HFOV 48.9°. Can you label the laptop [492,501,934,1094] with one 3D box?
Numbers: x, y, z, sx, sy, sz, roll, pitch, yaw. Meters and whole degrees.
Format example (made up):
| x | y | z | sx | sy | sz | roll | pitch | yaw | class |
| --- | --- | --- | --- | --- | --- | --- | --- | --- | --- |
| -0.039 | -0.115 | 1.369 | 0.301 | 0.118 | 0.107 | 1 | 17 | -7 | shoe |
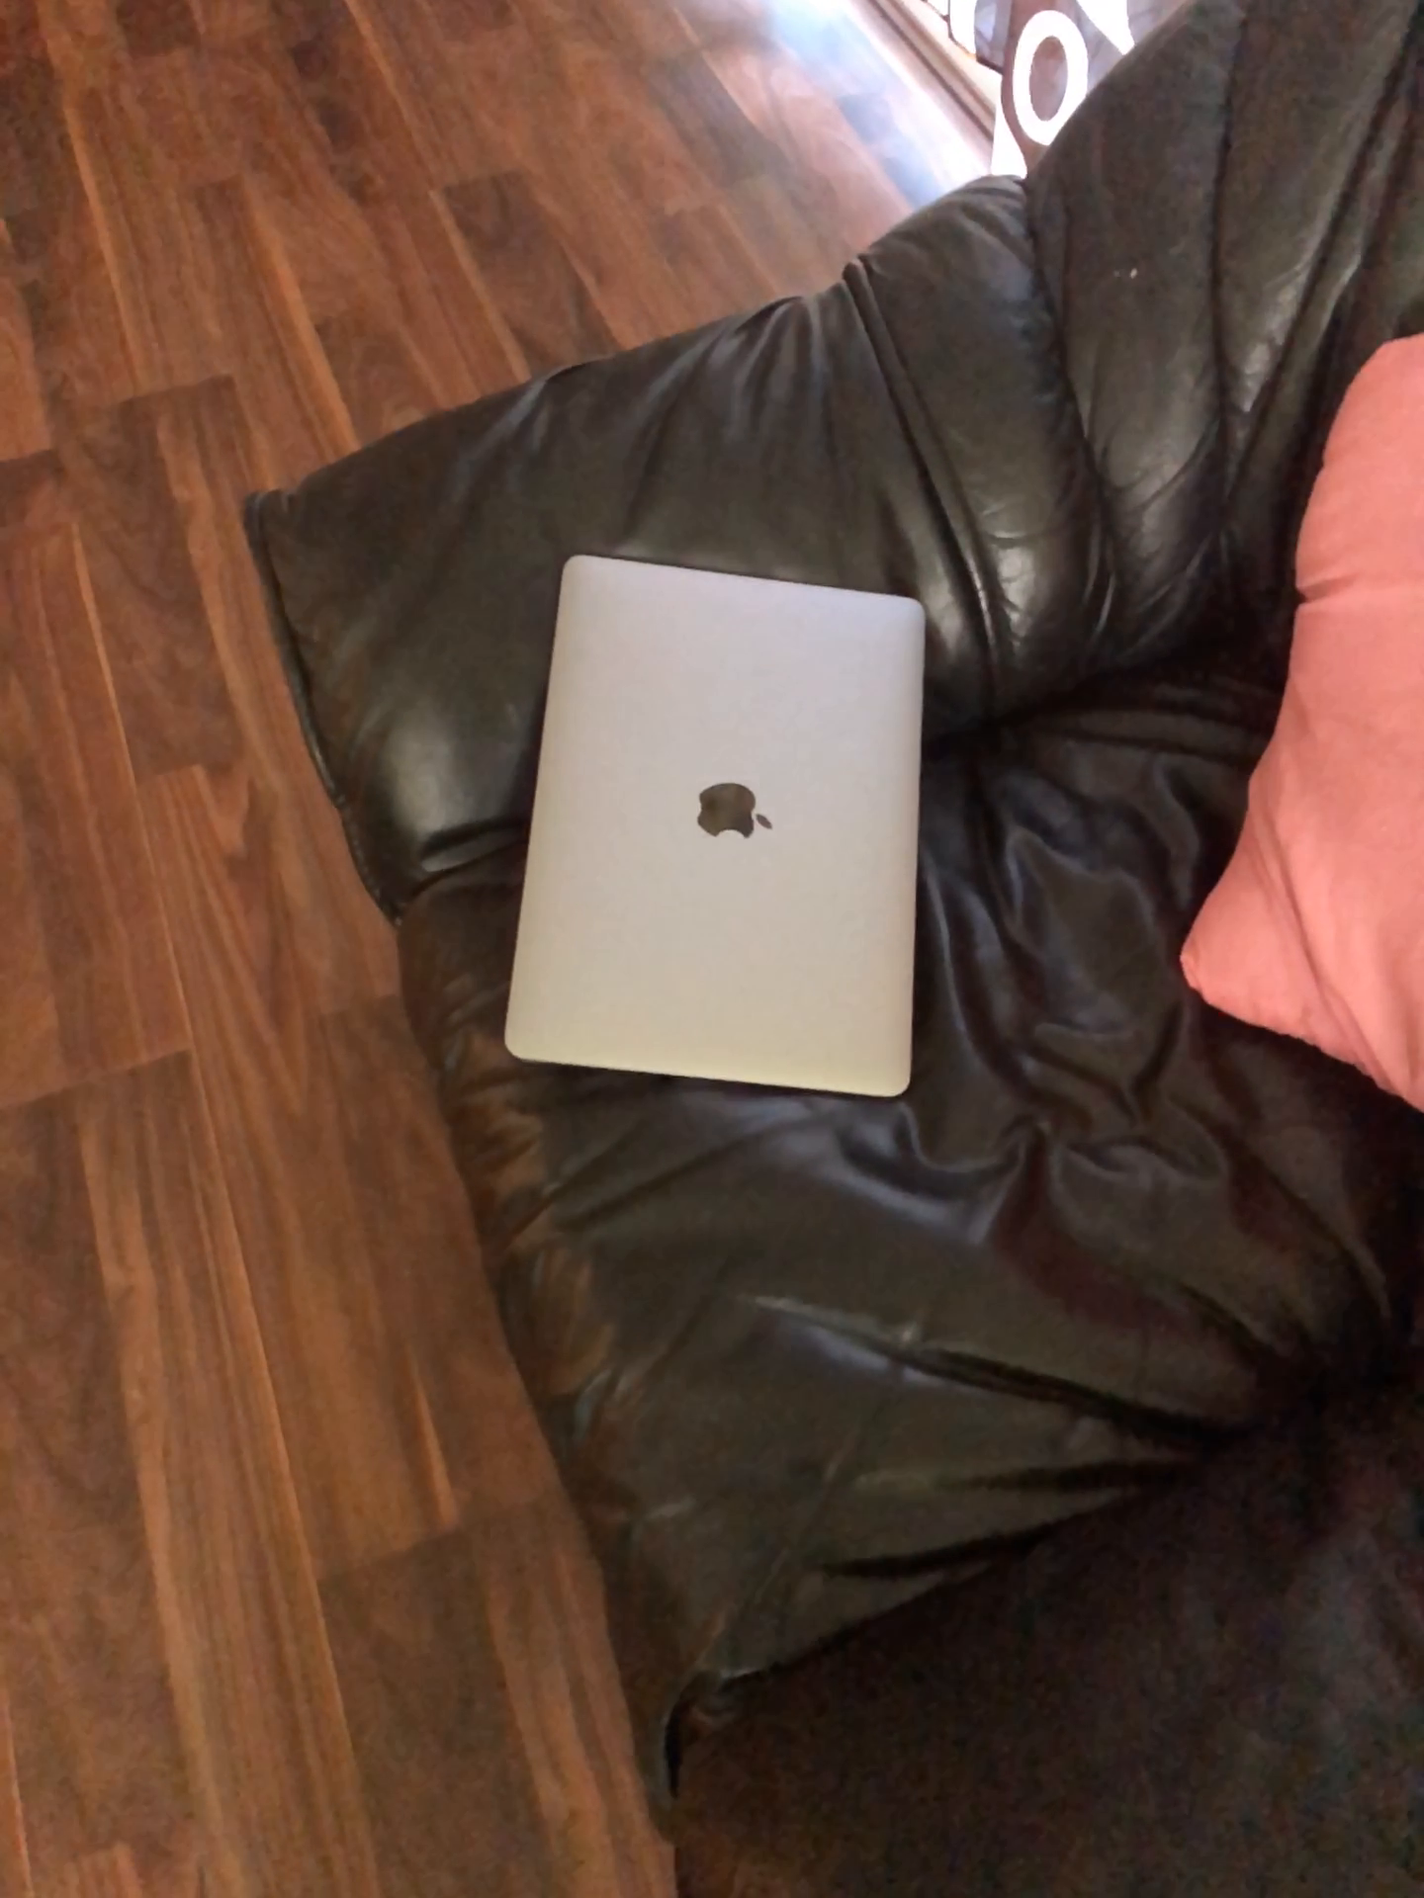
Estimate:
| x | y | z | sx | sy | sz | roll | pitch | yaw | class |
| --- | --- | --- | --- | --- | --- | --- | --- | --- | --- |
| 0.010 | -0.076 | 0.741 | 0.185 | 0.036 | 0.265 | 7 | 68 | -6 | laptop |
